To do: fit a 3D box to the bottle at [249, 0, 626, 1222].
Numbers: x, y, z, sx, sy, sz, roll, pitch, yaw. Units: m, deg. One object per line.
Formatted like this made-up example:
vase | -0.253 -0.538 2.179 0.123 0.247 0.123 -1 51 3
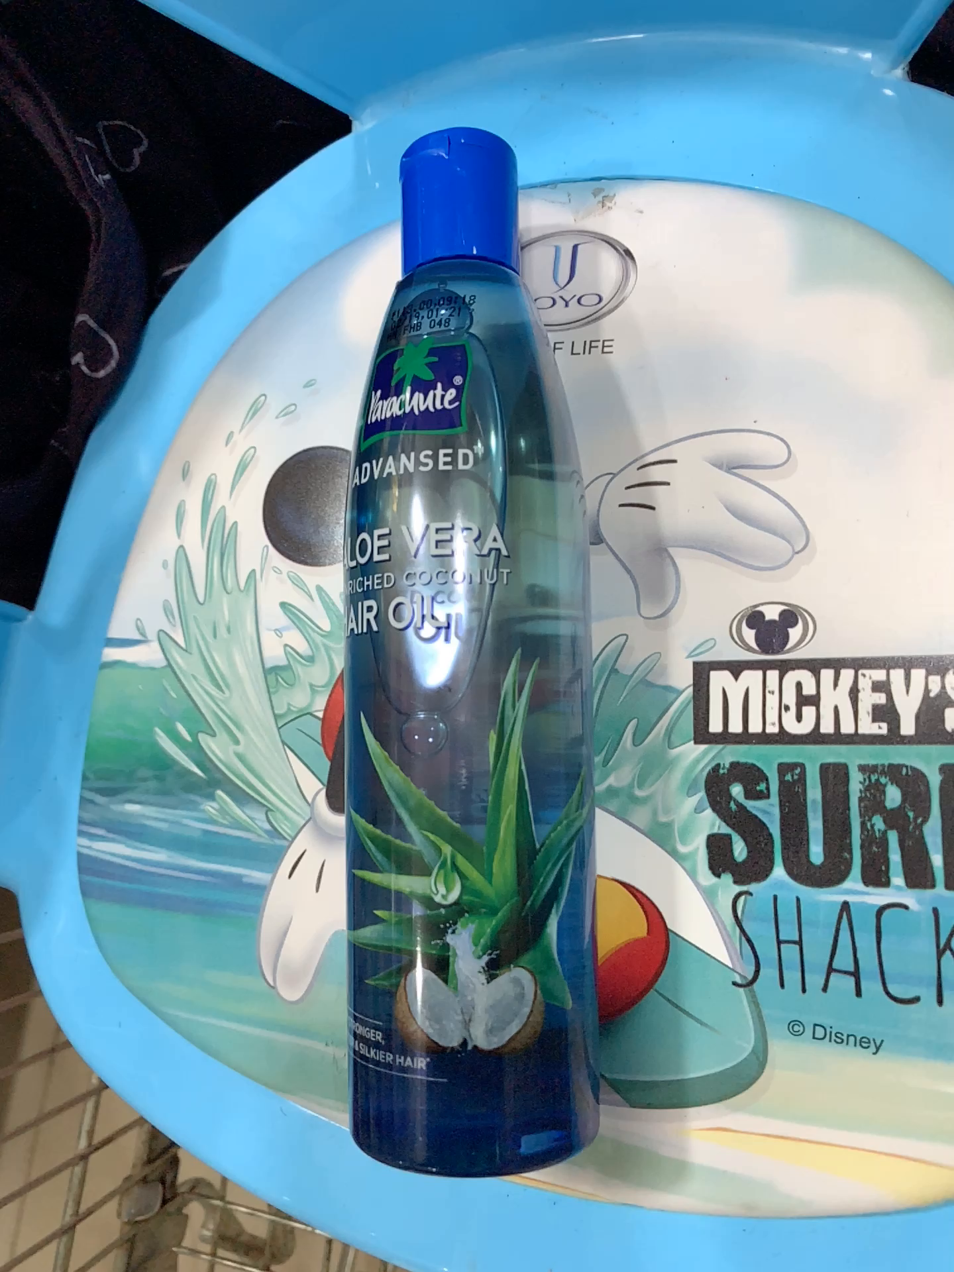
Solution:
bottle | -0.005 -0.010 0.185 0.050 0.050 0.200 -2 88 20
